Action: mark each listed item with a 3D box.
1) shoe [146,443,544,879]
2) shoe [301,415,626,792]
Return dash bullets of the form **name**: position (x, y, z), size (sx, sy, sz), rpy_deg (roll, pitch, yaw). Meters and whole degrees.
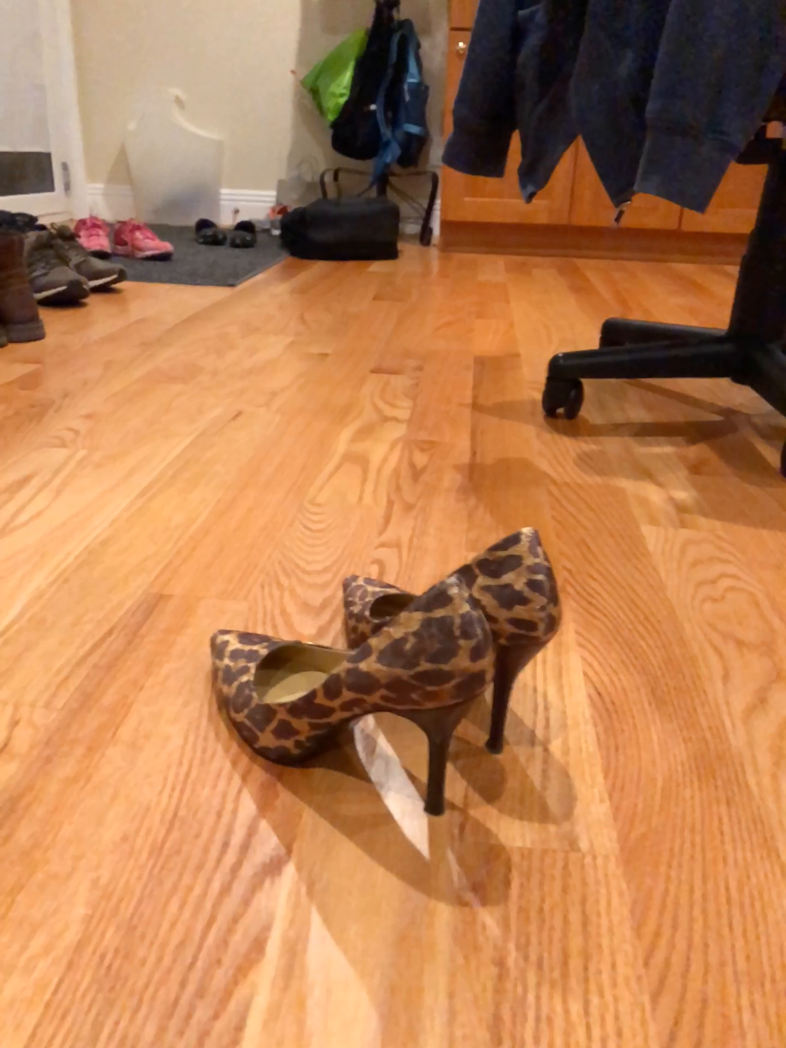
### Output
- **shoe**: position (-0.038, 0.058, 0.479), size (0.084, 0.144, 0.219), rpy_deg (-19, 31, -41)
- **shoe**: position (0.028, 0.033, 0.546), size (0.084, 0.144, 0.219), rpy_deg (-11, 26, -30)
